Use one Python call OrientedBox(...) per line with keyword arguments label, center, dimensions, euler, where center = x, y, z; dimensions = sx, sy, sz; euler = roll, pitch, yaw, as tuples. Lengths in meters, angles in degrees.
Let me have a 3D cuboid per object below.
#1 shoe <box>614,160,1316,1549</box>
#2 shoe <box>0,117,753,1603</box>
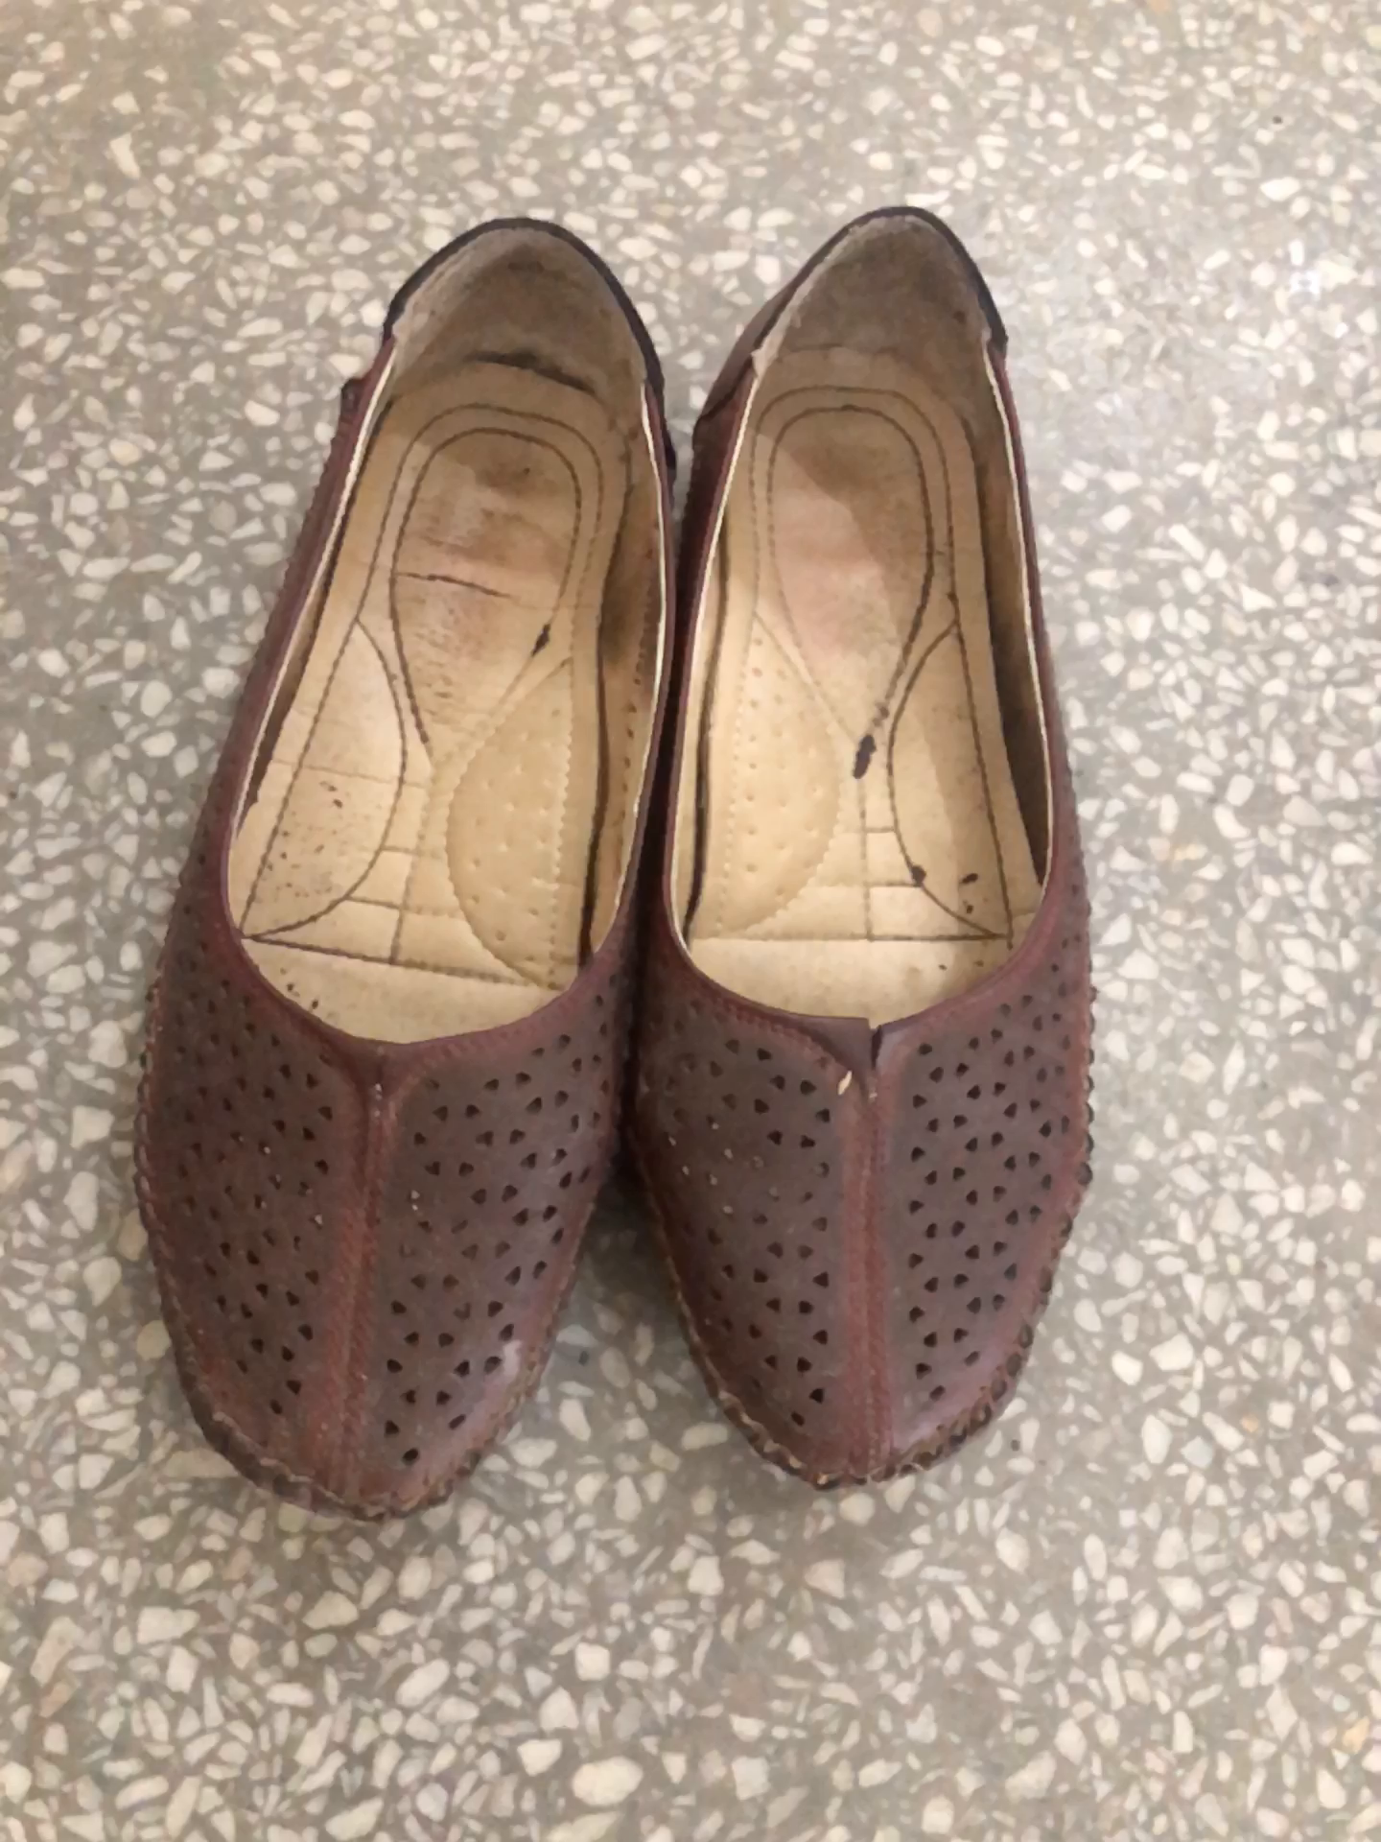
OrientedBox(label="shoe", center=(0.036, -0.014, 0.288), dimensions=(0.095, 0.080, 0.231), euler=(0, 75, -5))
OrientedBox(label="shoe", center=(-0.047, -0.013, 0.282), dimensions=(0.087, 0.080, 0.236), euler=(7, 74, -3))
